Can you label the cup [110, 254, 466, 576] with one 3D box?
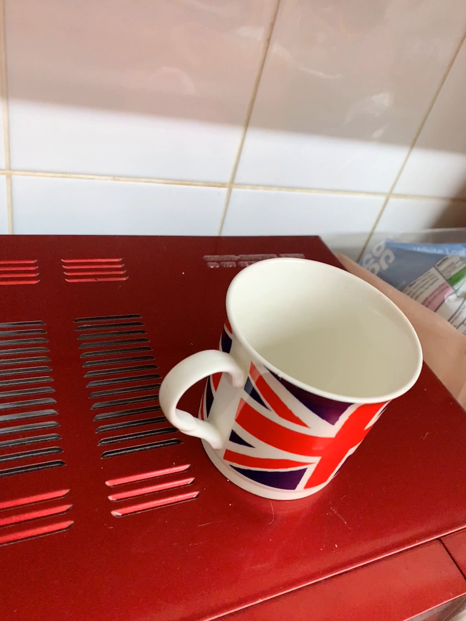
[{"bbox_3d":[0.021,0.036,0.215,0.120,0.079,0.081,-10,46,-31],"label":"cup"}]
